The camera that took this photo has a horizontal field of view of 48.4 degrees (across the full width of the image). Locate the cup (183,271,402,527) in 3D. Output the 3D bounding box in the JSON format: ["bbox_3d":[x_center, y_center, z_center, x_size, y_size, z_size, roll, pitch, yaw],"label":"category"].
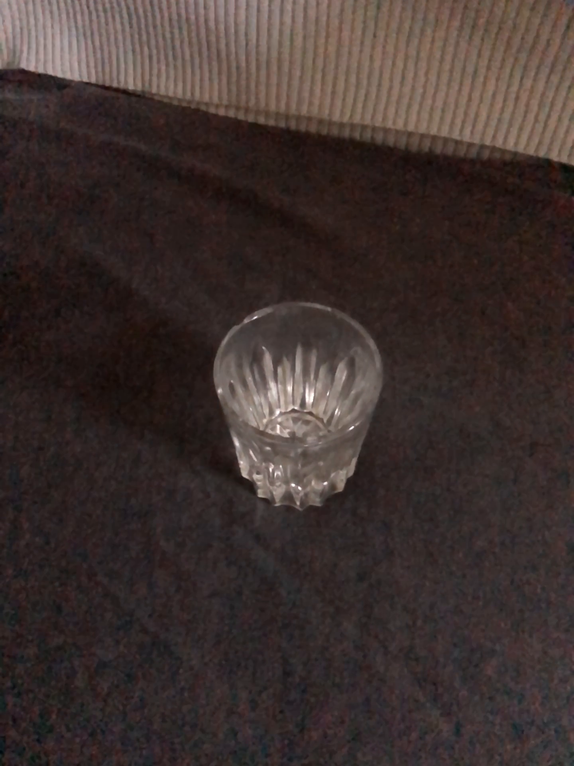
[{"bbox_3d":[0.002,0.009,0.249,0.059,0.078,0.048,22,59,12],"label":"cup"}]
